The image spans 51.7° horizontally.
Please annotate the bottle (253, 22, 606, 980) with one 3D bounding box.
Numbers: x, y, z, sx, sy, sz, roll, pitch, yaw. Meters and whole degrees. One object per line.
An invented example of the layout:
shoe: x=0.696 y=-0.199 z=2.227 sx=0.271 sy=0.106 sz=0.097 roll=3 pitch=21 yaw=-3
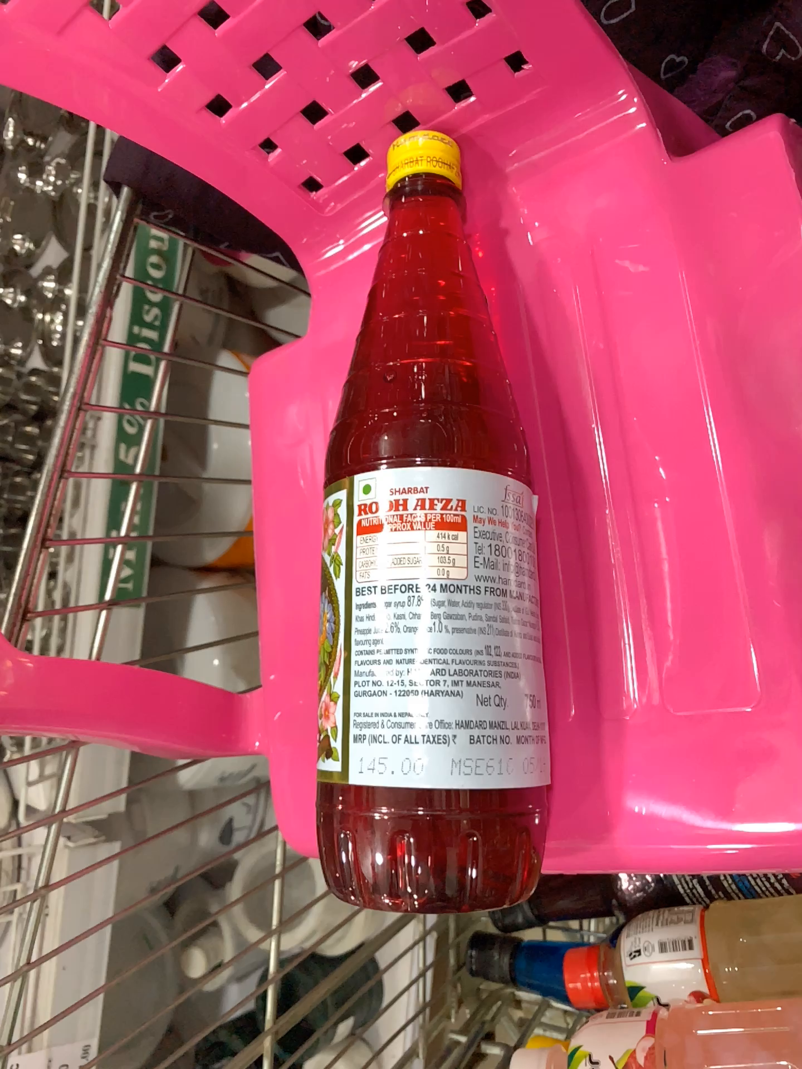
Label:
bottle: x=0.008 y=-0.012 z=0.262 sx=0.080 sy=0.060 sz=0.260 roll=-6 pitch=81 yaw=20
